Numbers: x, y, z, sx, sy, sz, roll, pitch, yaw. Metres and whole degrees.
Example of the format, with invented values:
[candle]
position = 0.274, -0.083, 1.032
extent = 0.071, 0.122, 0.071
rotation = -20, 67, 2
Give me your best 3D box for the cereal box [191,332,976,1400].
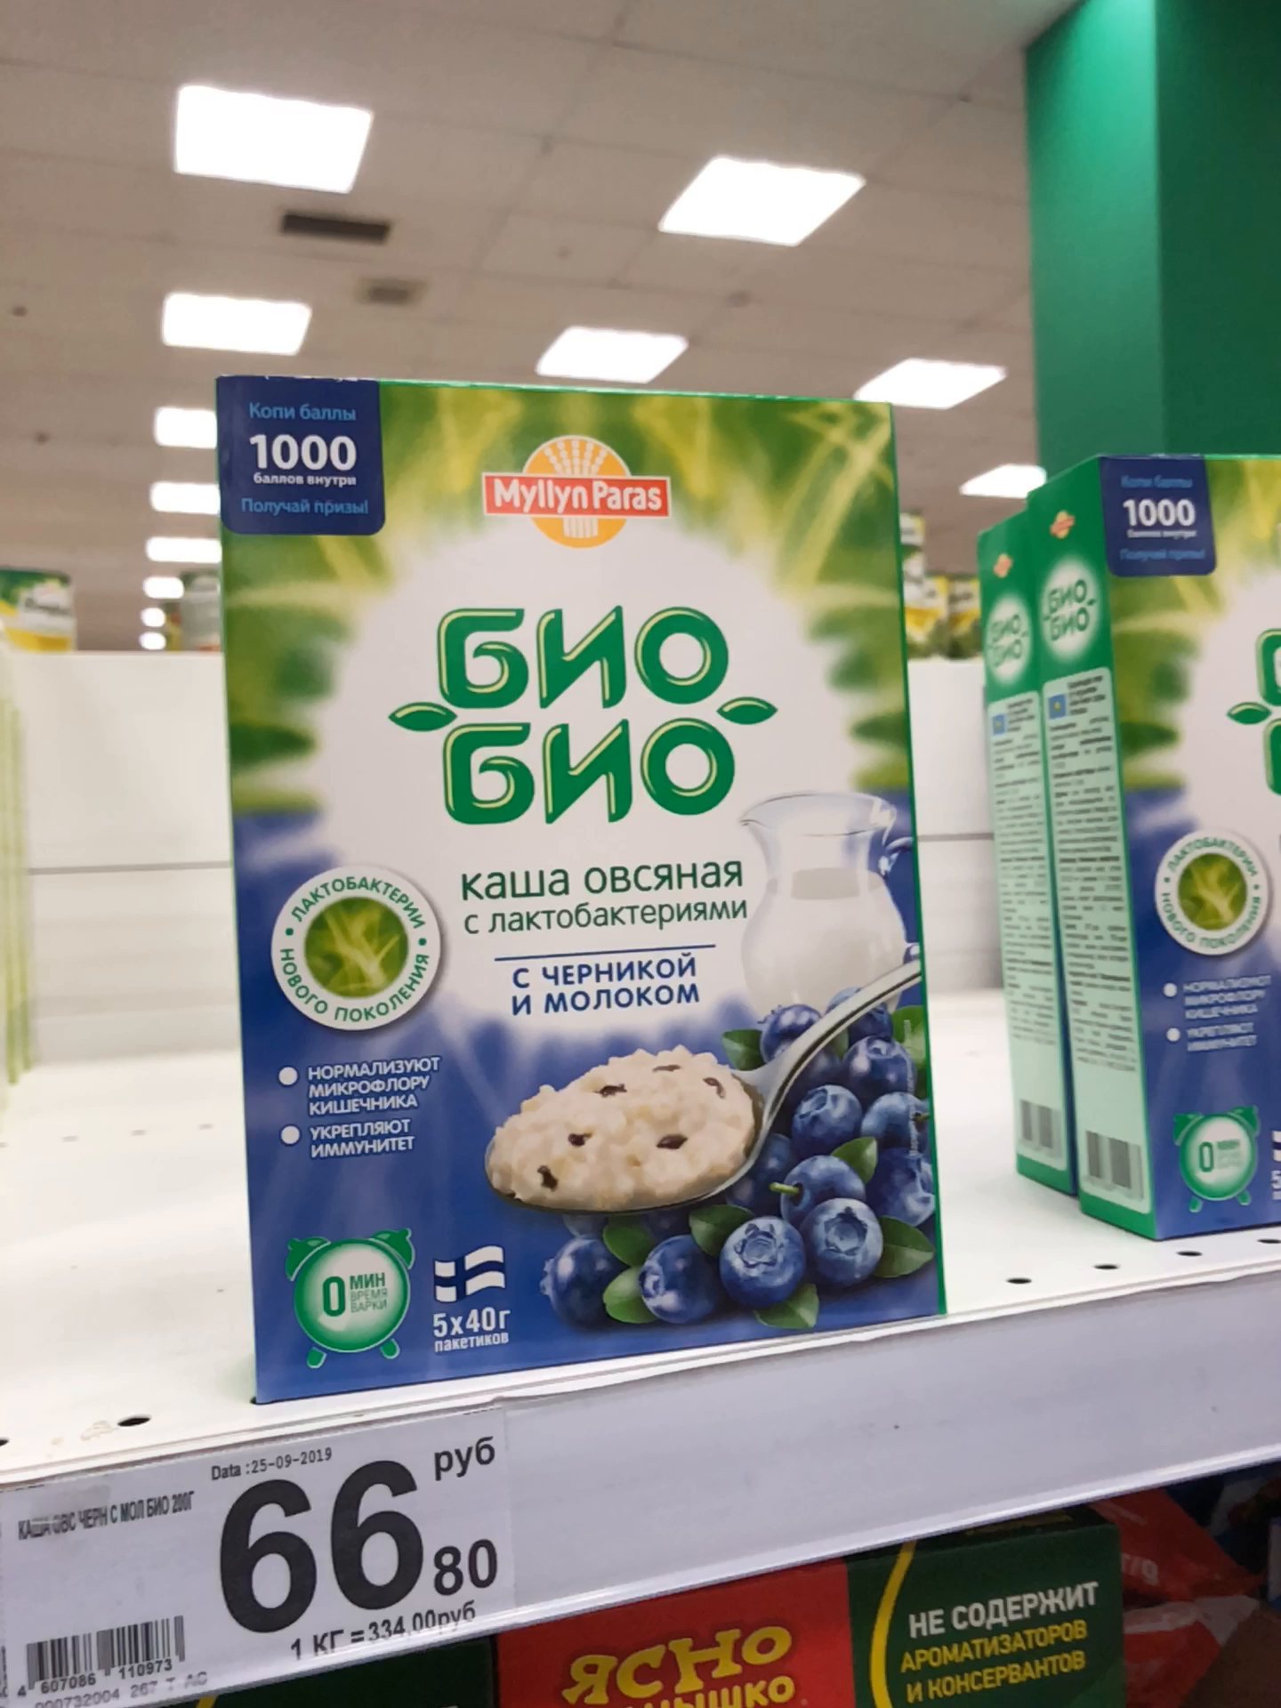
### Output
[cereal box]
position = -0.013, -0.001, 0.319
extent = 0.160, 0.210, 0.040
rotation = -2, -2, -14
